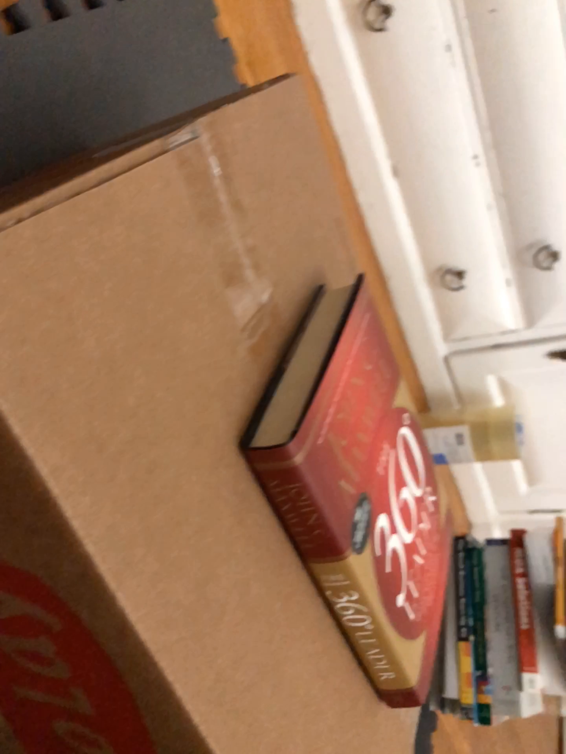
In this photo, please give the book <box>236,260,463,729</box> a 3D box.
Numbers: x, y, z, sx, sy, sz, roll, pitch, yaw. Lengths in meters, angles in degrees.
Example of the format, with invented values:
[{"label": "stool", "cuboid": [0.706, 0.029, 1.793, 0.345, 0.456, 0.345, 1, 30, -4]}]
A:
[{"label": "book", "cuboid": [0.065, 0.074, 0.410, 0.240, 0.030, 0.181, 64, 33, -29]}]
